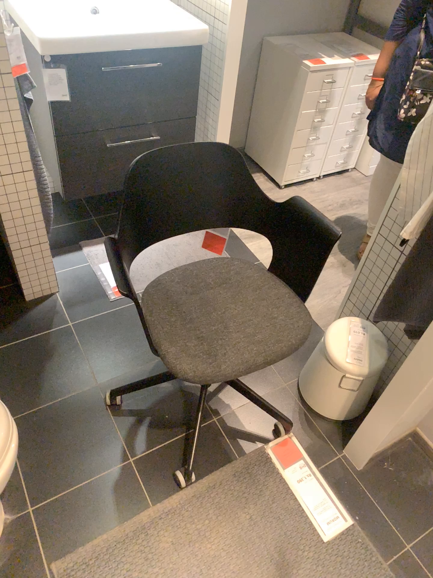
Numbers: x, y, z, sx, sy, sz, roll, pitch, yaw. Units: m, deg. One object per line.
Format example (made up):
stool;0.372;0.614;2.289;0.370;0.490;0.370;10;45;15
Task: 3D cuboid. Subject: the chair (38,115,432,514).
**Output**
chair;-0.016;0.050;1.213;0.641;0.737;0.602;-19;51;-24
